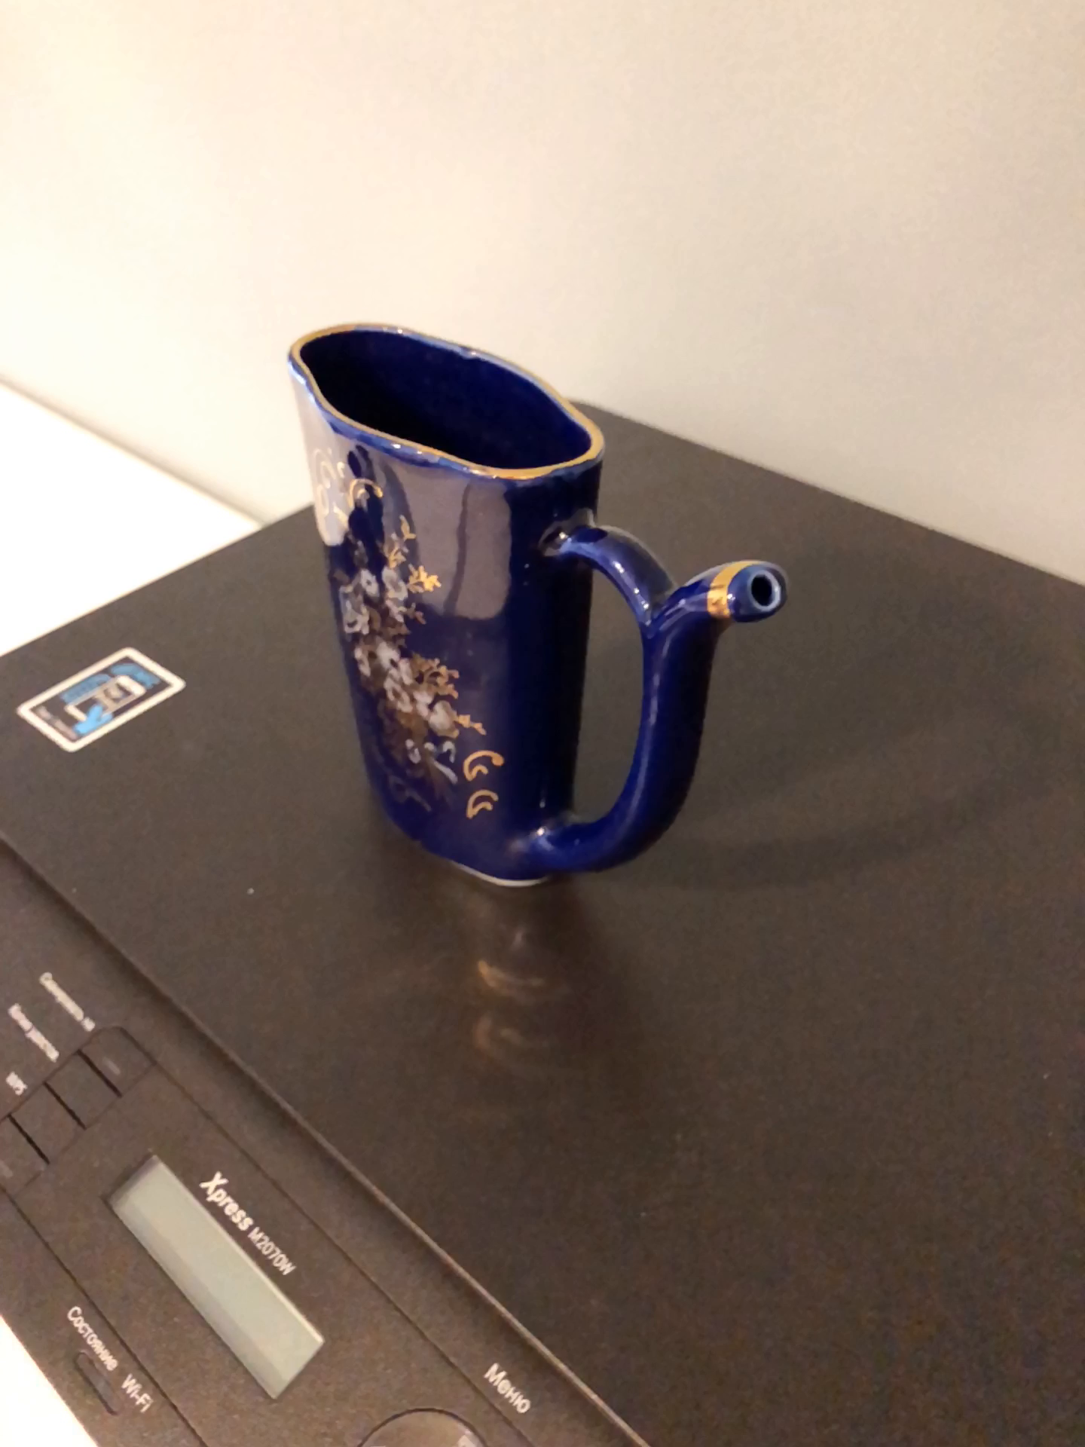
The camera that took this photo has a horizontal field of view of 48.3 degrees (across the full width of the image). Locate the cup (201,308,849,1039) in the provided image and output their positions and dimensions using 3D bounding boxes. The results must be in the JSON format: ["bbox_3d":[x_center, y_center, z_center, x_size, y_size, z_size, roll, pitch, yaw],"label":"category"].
[{"bbox_3d":[-0.008,-0.015,0.271,0.050,0.109,0.130,-33,49,-32],"label":"cup"}]
